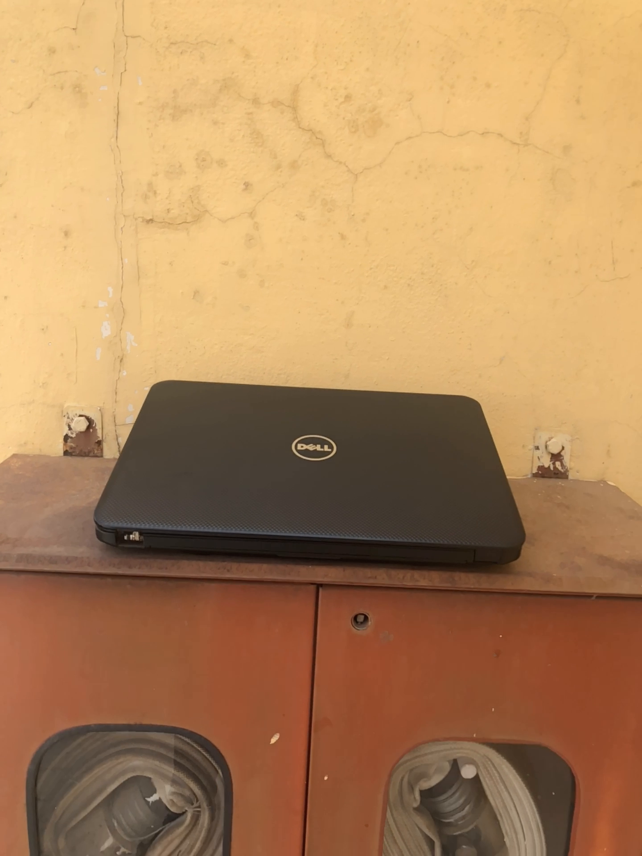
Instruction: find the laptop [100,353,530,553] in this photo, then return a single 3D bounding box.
[{"bbox_3d":[-0.004,0.014,0.671,0.352,0.098,0.184,2,22,0],"label":"laptop"}]
